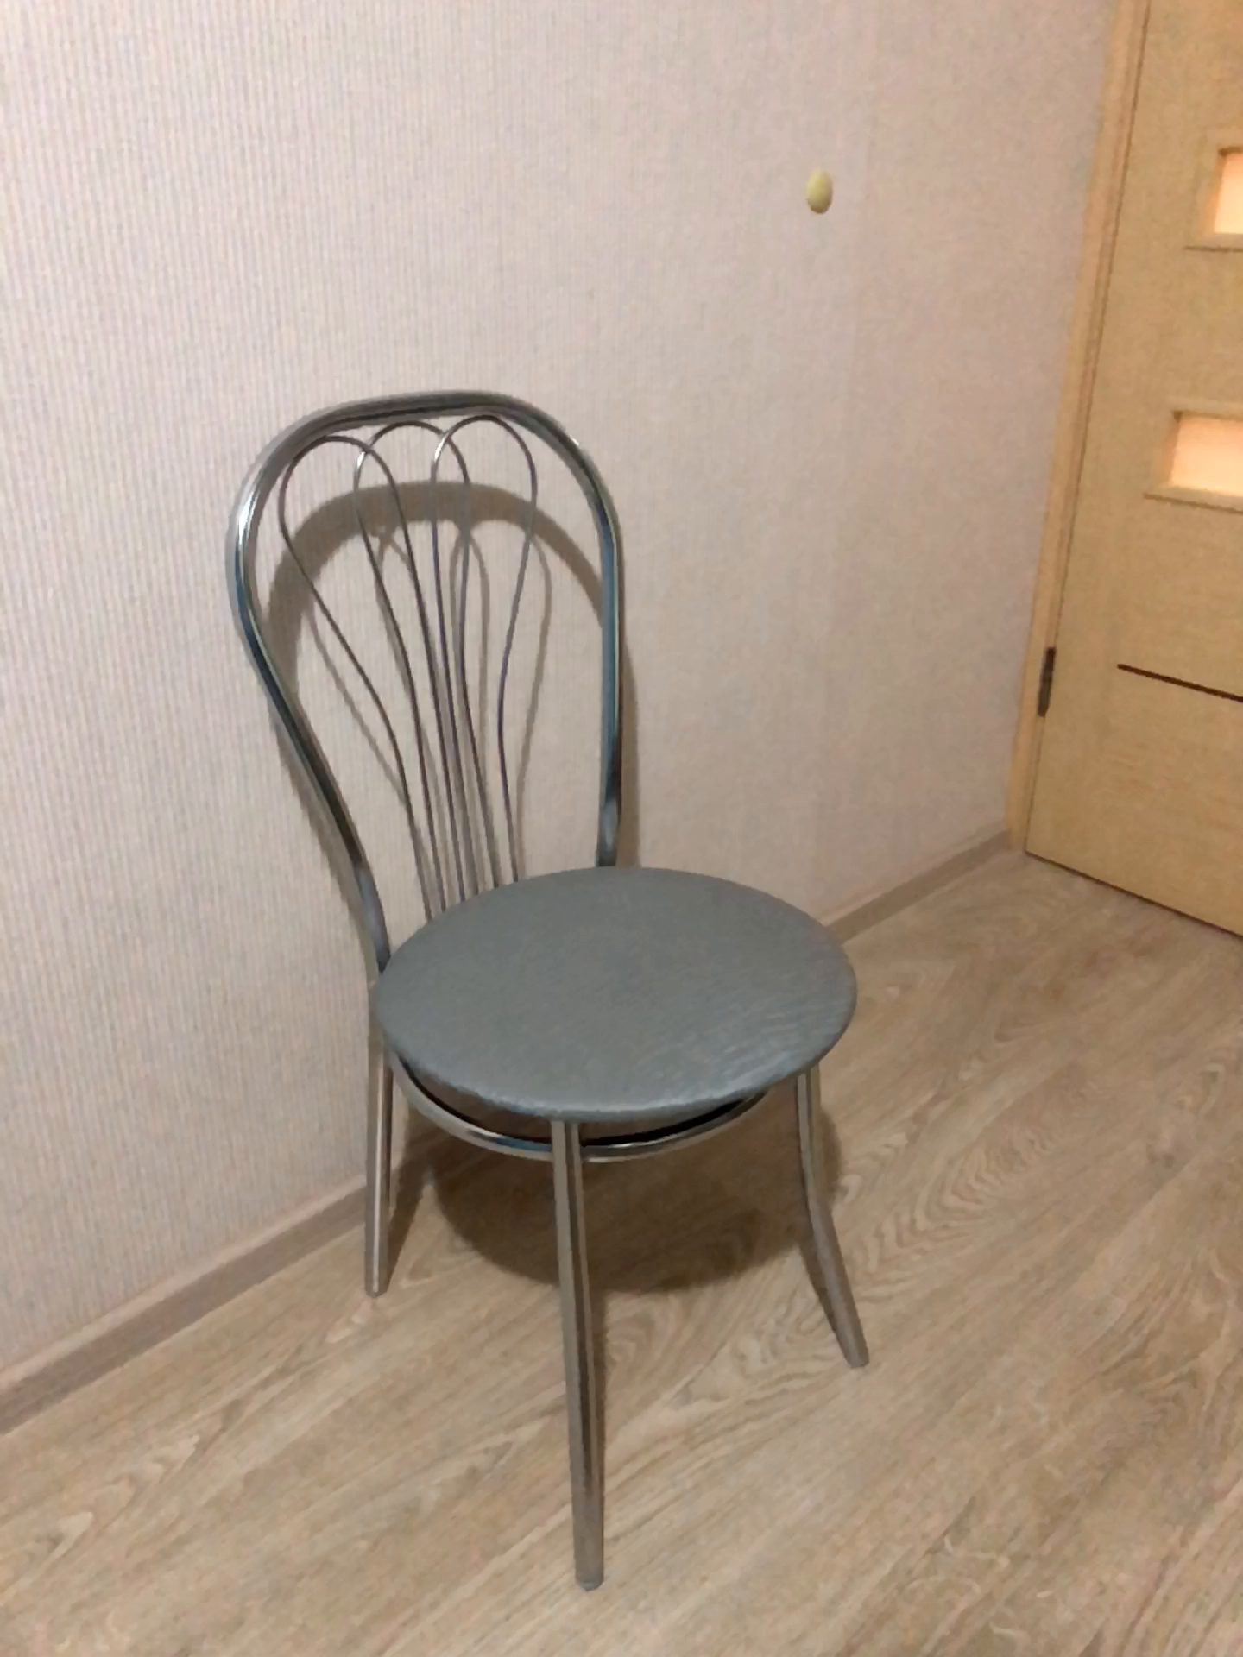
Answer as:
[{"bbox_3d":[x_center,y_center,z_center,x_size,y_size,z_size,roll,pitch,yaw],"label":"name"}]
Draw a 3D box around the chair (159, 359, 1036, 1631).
[{"bbox_3d":[-0.033,0.083,1.110,0.401,0.825,0.471,-19,31,-37],"label":"chair"}]
